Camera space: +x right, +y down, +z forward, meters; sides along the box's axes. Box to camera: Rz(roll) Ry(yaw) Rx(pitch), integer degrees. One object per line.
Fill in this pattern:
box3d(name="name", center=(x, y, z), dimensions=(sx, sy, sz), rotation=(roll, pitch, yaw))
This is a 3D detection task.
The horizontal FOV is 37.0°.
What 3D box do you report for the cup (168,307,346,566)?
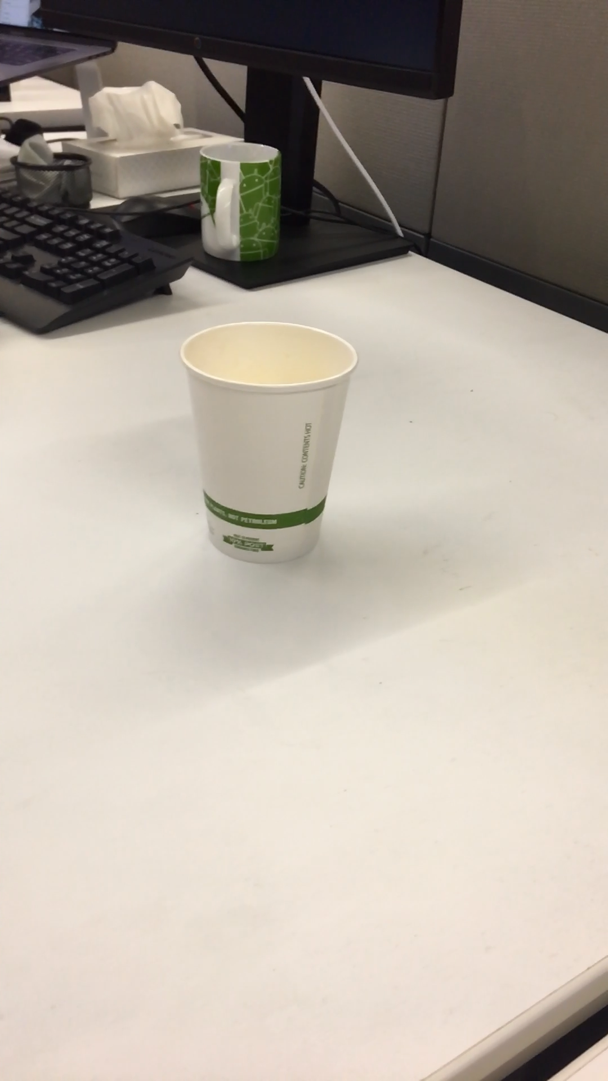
box3d(name="cup", center=(-0.022, -0.056, 0.471), dimensions=(0.080, 0.100, 0.090), rotation=(3, 33, 0))
